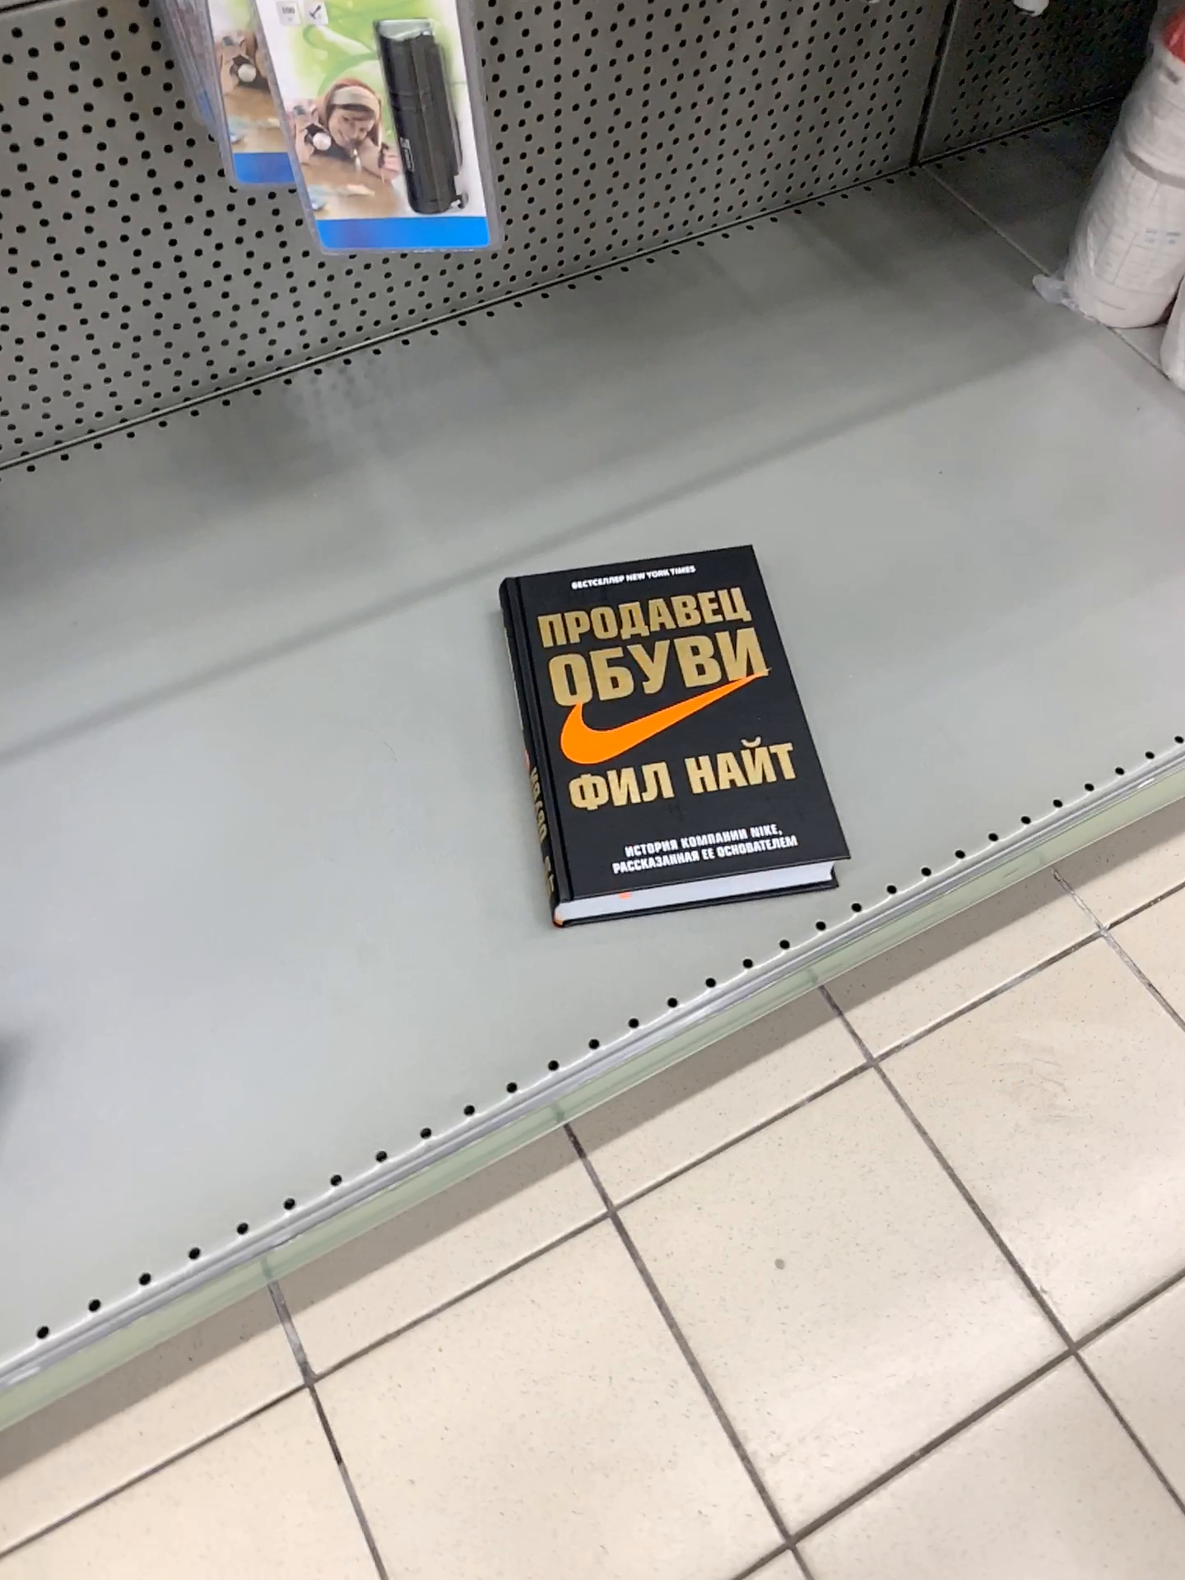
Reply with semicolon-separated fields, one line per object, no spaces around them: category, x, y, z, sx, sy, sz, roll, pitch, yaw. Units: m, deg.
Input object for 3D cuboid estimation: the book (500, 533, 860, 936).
book;0.044;-0.044;0.744;0.170;0.042;0.251;-7;58;-5
